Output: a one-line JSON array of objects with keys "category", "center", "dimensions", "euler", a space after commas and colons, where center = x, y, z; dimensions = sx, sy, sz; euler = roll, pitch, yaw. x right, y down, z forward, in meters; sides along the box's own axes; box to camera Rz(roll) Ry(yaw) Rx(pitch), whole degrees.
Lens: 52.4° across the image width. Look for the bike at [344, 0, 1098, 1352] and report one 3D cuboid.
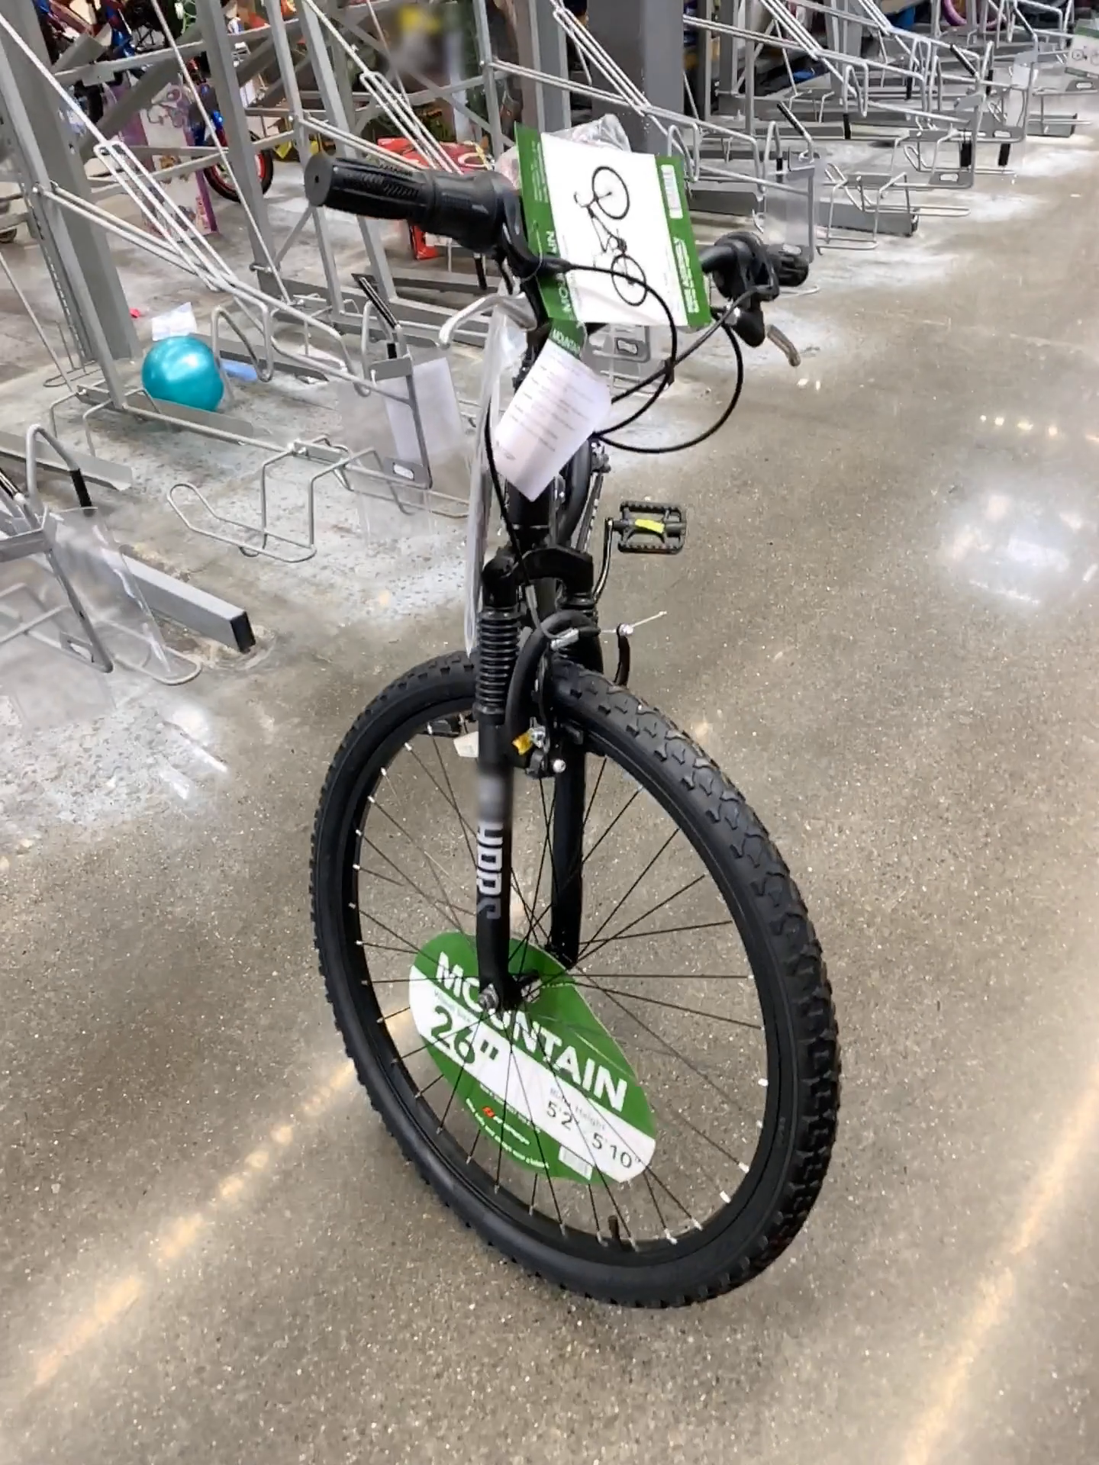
[{"category": "bike", "center": [0.177, -0.302, 1.555], "dimensions": [0.690, 1.089, 1.690], "euler": [-8, 41, -2]}]
